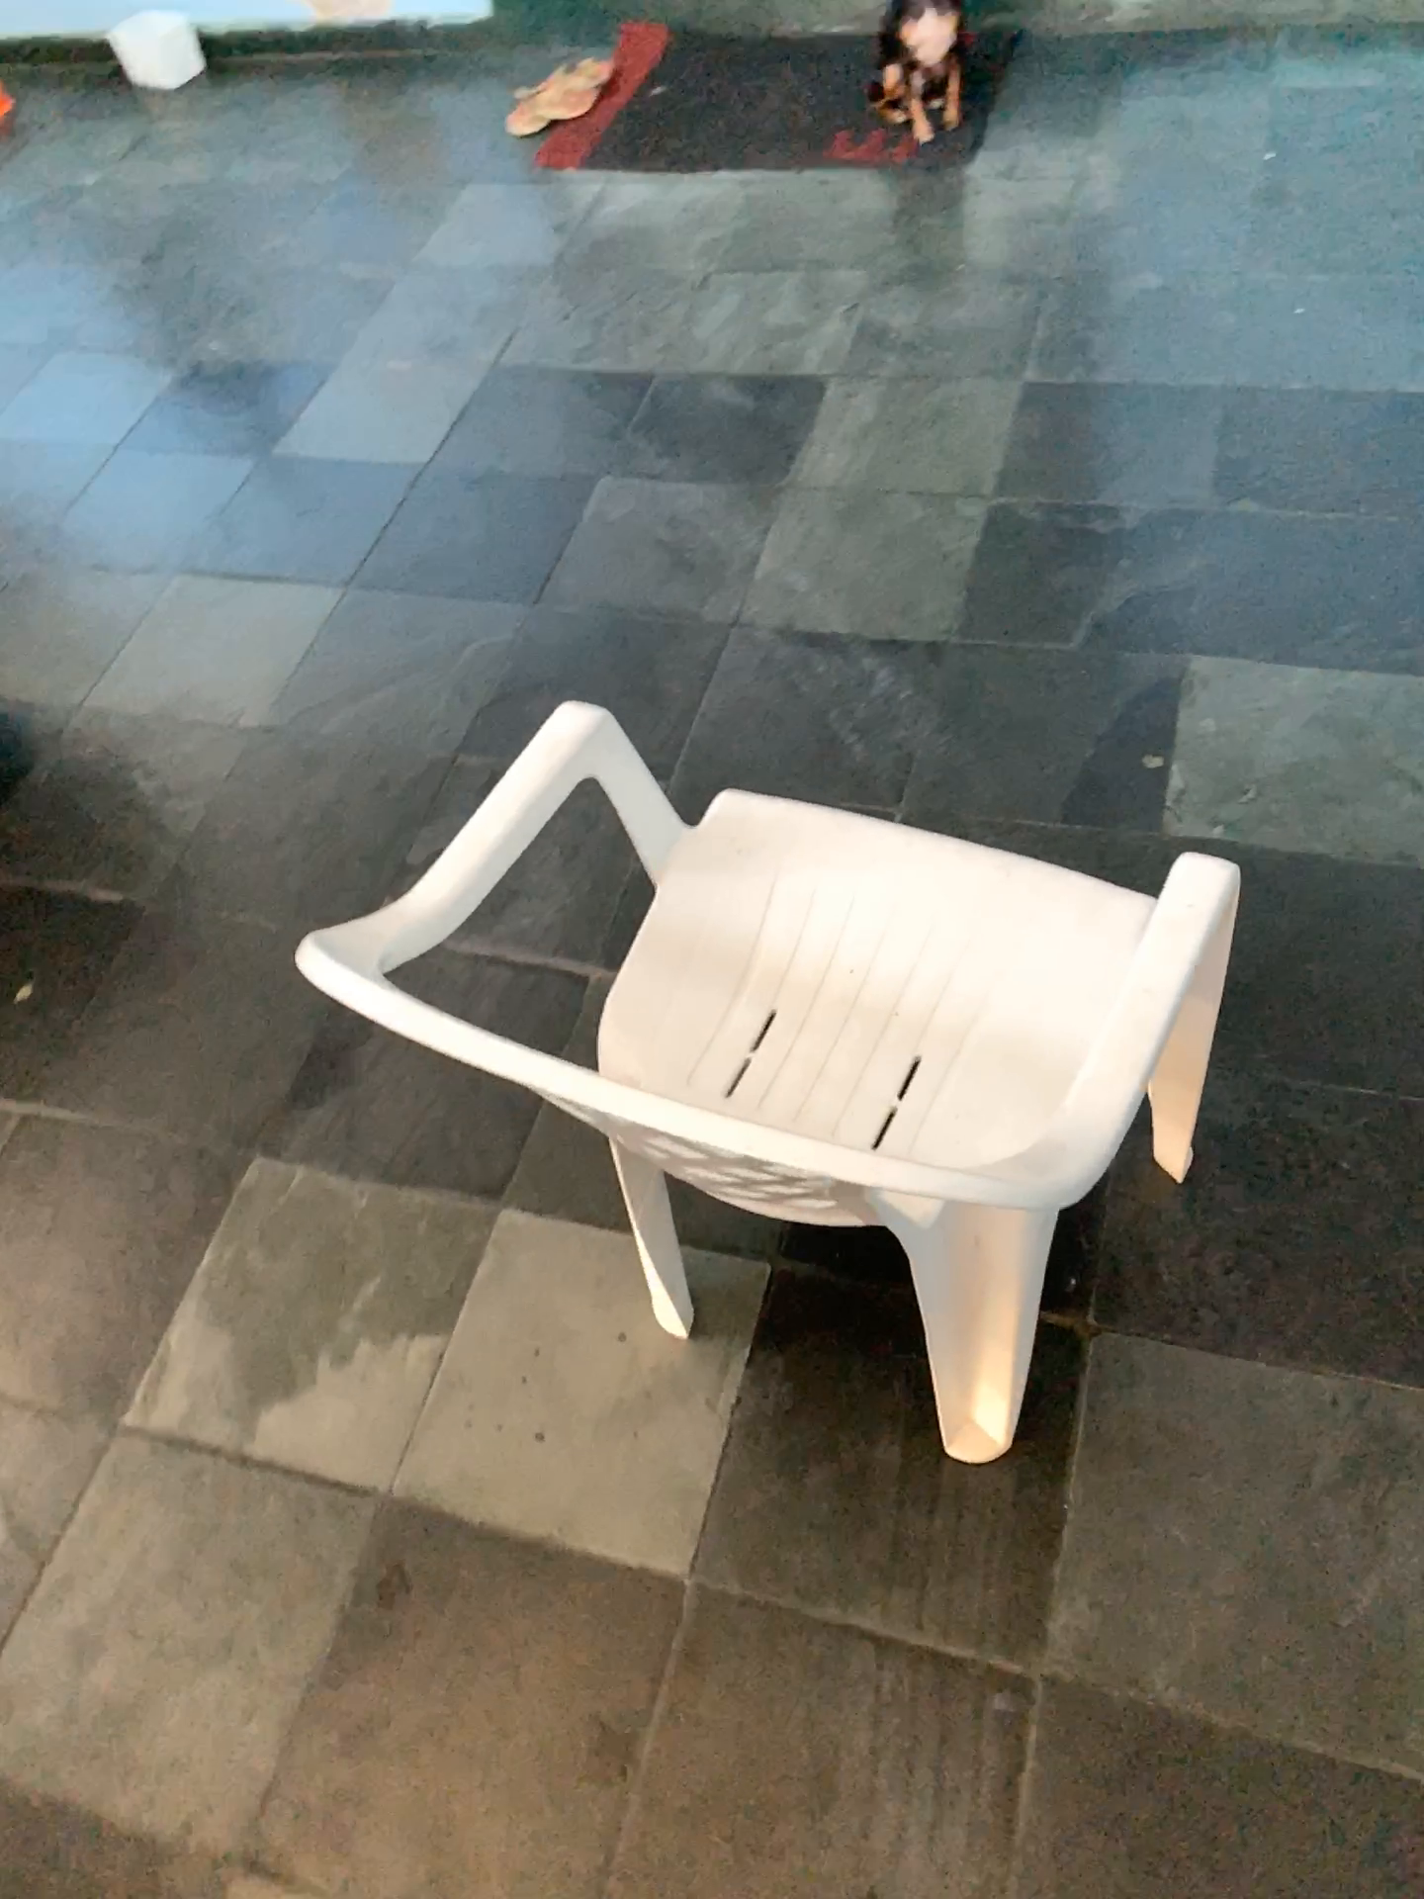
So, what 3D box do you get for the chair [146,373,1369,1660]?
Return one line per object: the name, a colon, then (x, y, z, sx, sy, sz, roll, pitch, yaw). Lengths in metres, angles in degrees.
chair: (0.105, 0.068, 1.137, 0.541, 0.717, 0.592, 14, 57, 21)
